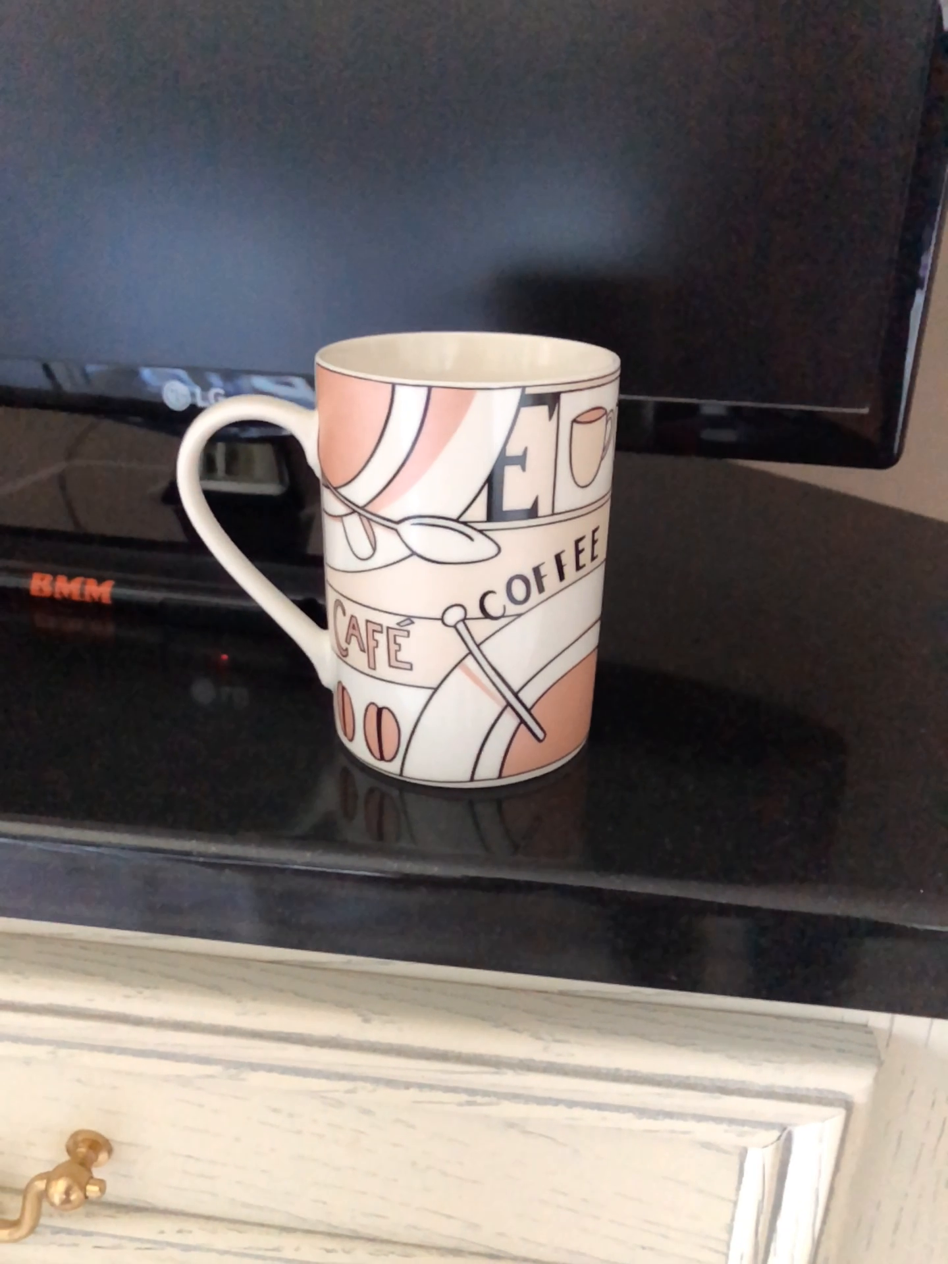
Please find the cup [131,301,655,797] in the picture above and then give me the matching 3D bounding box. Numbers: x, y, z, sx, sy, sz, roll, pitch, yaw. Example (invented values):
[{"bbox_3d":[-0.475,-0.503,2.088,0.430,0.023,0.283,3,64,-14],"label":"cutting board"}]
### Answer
[{"bbox_3d":[-0.018,-0.024,0.275,0.110,0.109,0.070,1,24,0],"label":"cup"}]
